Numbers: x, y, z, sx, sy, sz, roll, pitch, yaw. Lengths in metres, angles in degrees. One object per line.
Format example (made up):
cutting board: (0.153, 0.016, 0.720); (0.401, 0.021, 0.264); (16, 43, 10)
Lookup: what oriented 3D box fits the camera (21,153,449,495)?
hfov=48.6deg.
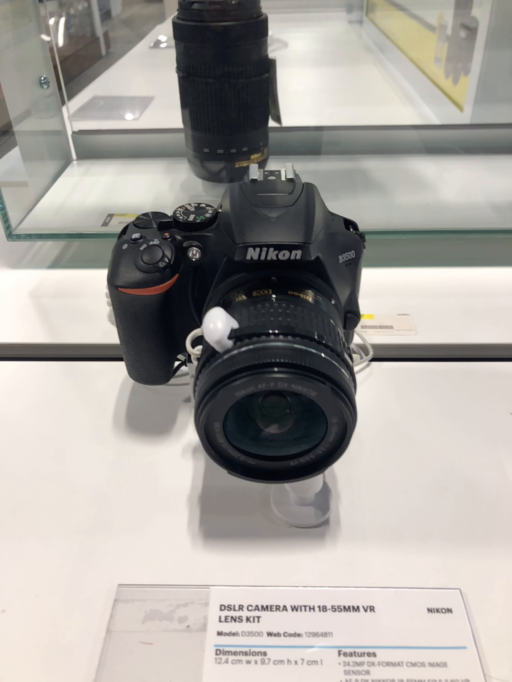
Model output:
camera: (-0.006, -0.015, 0.252); (0.131, 0.089, 0.131); (-2, 36, 1)
